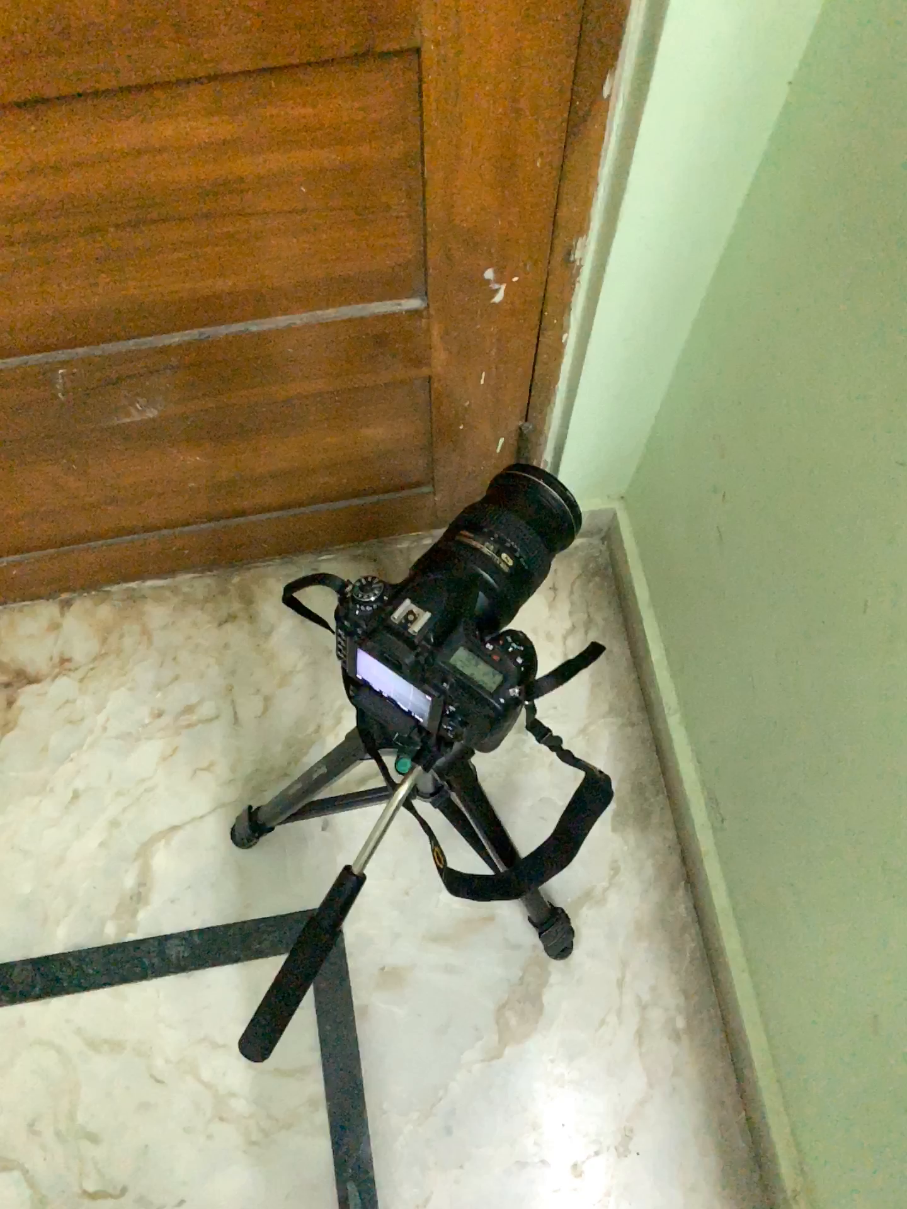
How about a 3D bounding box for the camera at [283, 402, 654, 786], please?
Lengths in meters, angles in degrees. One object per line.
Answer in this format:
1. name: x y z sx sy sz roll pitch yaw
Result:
1. camera: 0.012 -0.004 0.678 0.175 0.128 0.189 31 73 11
